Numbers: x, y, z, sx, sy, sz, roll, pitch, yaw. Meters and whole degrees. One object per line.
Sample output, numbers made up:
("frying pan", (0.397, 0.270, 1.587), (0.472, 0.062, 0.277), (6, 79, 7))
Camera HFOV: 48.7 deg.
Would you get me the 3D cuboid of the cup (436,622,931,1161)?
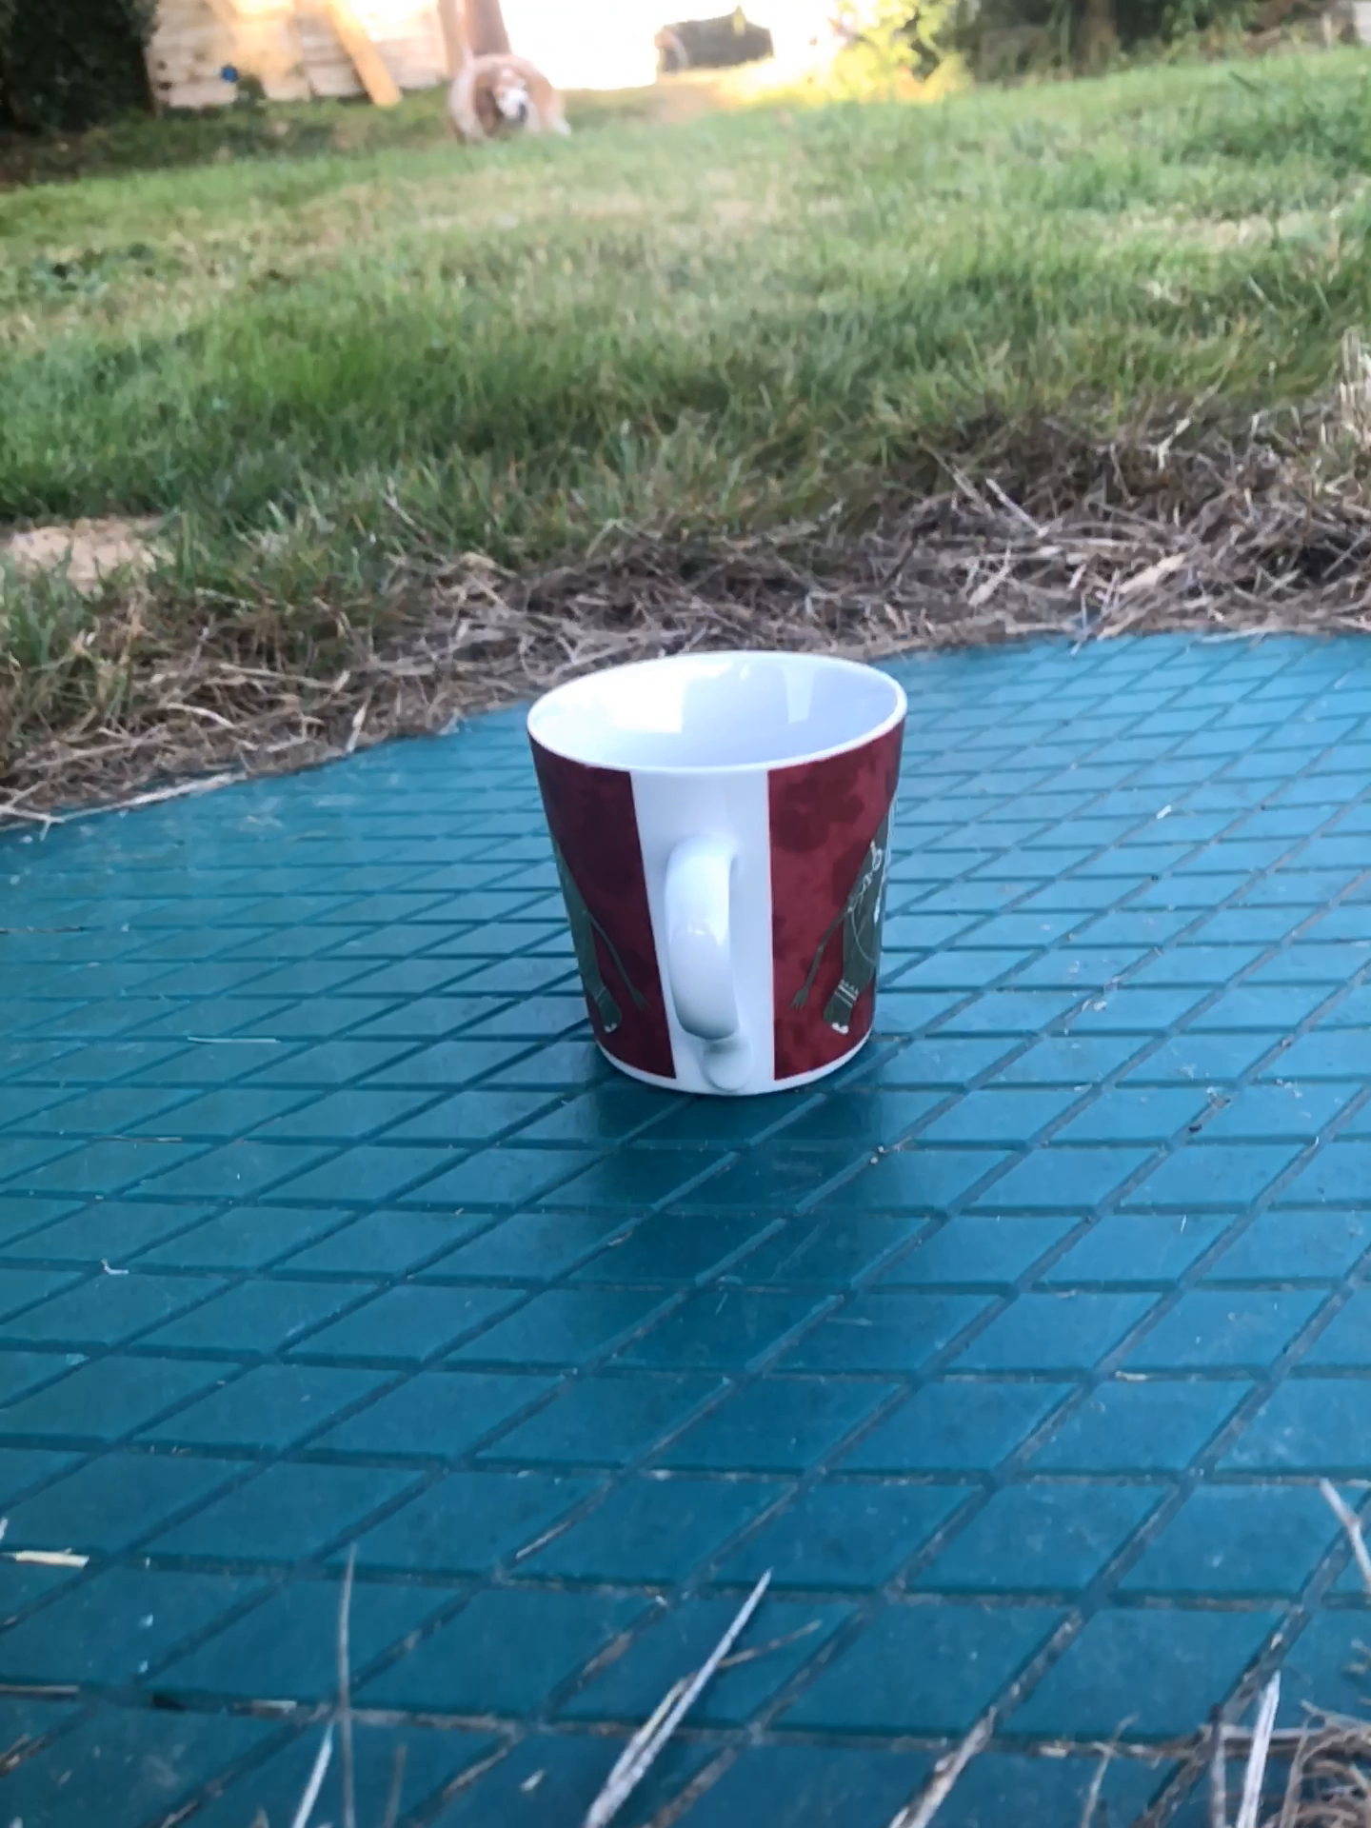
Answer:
("cup", (0.006, -0.010, 0.315), (0.082, 0.070, 0.110), (-2, 25, 6))
